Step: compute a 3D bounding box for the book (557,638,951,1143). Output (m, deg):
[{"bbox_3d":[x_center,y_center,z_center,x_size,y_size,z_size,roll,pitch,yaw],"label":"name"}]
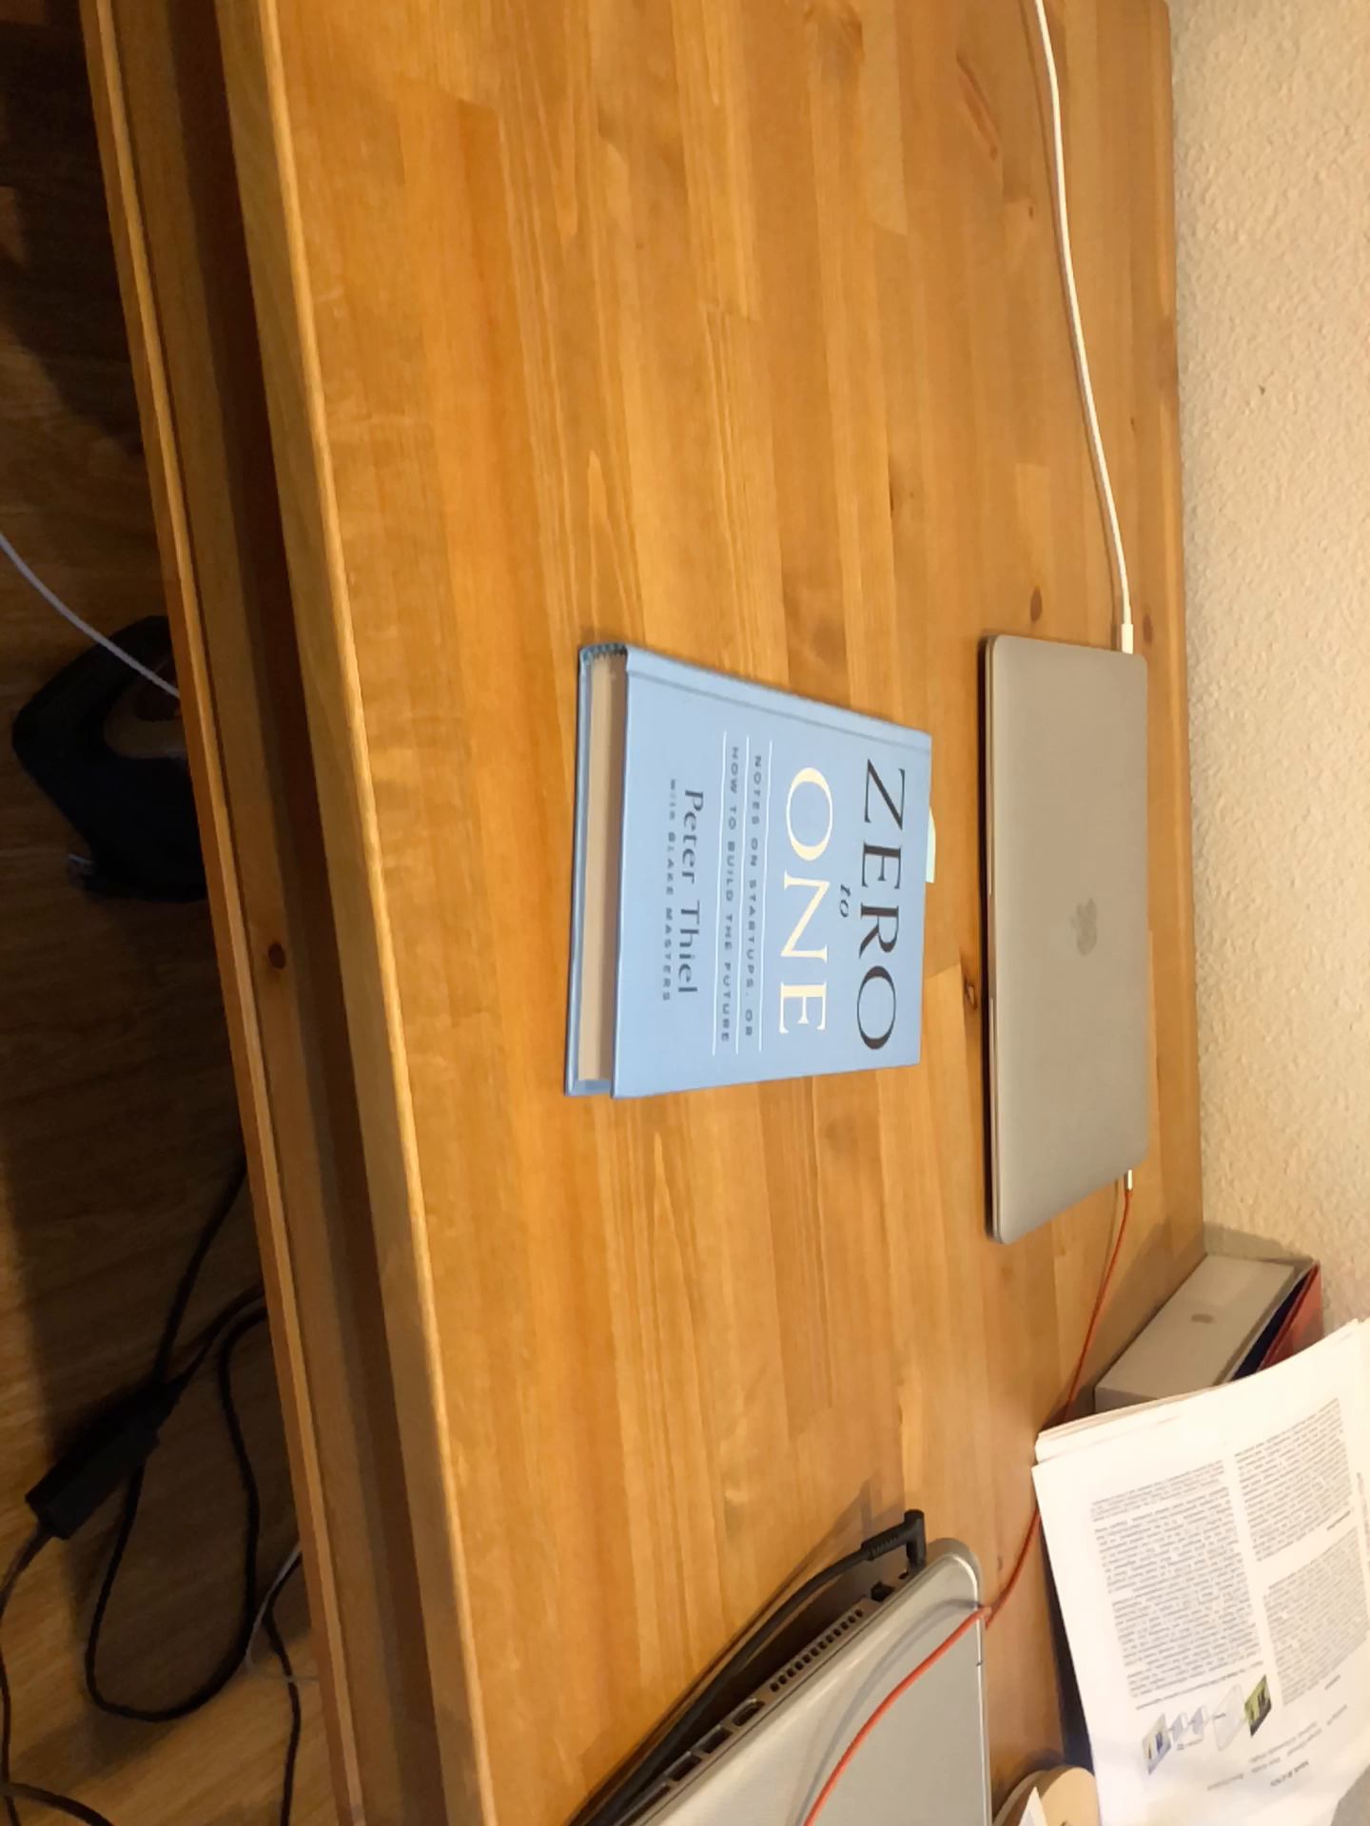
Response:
[{"bbox_3d":[0.035,-0.004,0.546,0.211,0.030,0.150,3,89,-55],"label":"book"}]
